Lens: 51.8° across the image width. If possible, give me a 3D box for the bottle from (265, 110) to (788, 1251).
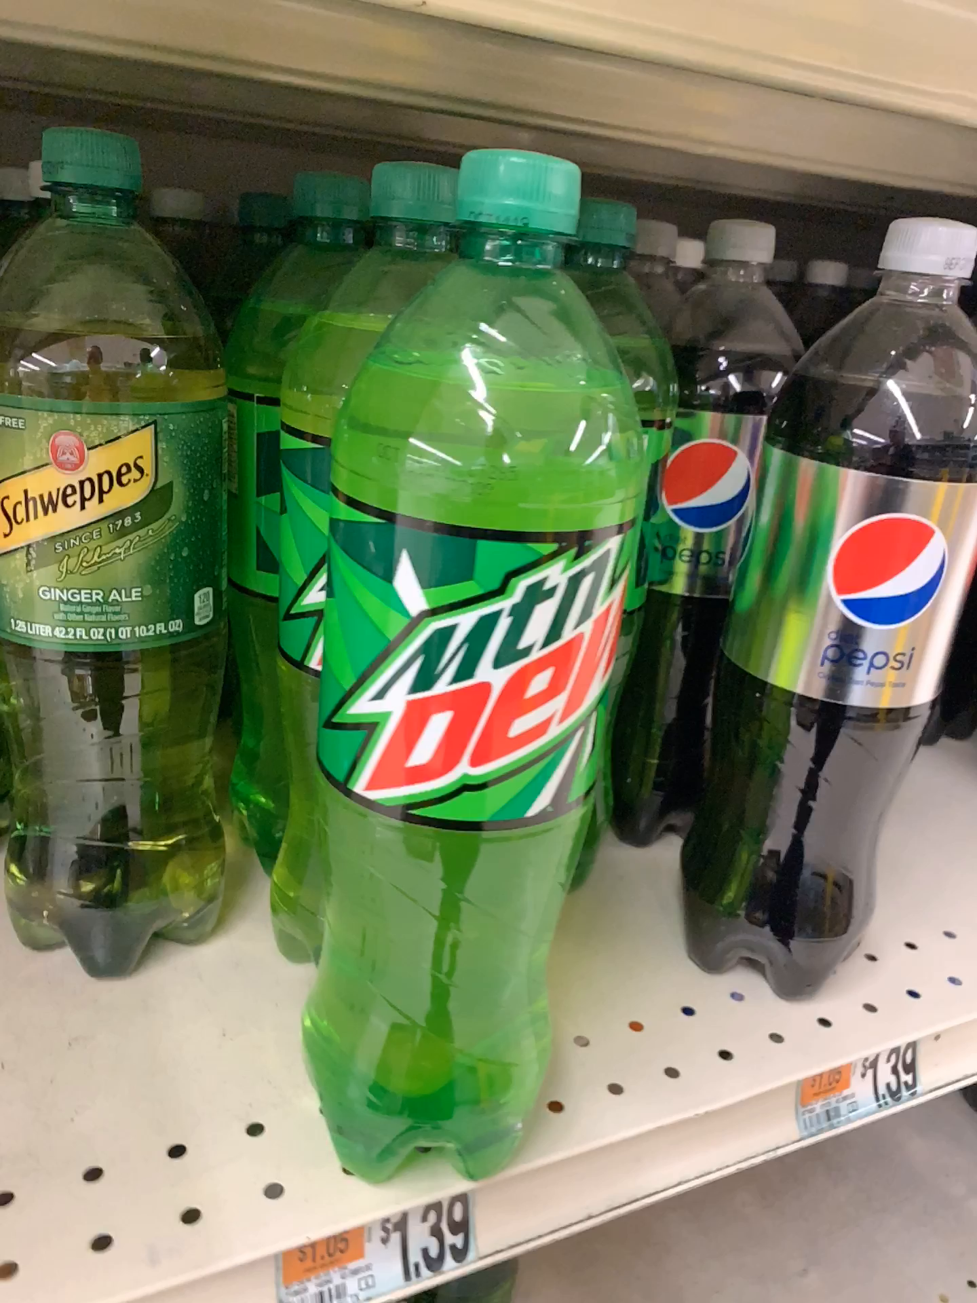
[{"bbox_3d":[-0.007,0.018,0.304,0.100,0.302,0.090,-3,22,-22],"label":"bottle"}]
